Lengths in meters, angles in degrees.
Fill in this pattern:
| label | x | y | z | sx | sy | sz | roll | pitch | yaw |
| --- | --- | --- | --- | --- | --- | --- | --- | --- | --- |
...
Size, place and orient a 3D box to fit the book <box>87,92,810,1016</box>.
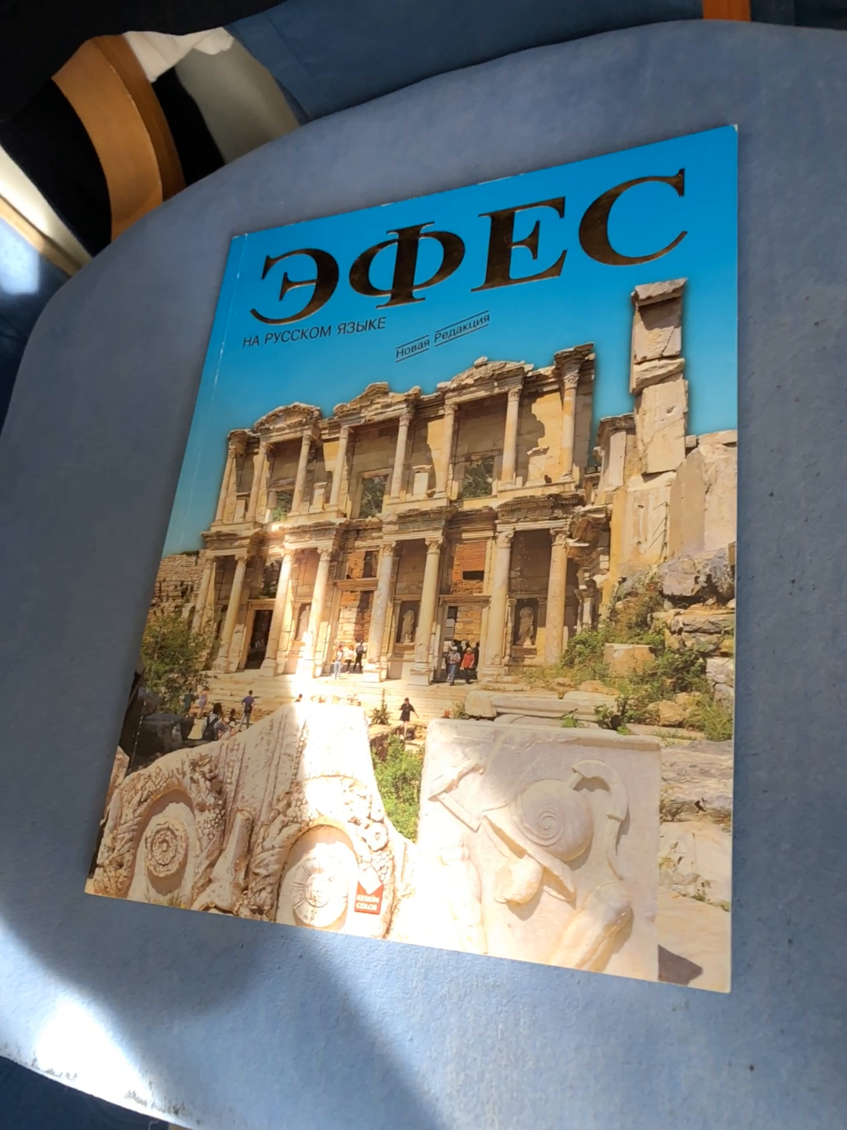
| label | x | y | z | sx | sy | sz | roll | pitch | yaw |
| --- | --- | --- | --- | --- | --- | --- | --- | --- | --- |
| book | 0.007 | -0.015 | 0.280 | 0.196 | 0.020 | 0.241 | -2 | 70 | 25 |
